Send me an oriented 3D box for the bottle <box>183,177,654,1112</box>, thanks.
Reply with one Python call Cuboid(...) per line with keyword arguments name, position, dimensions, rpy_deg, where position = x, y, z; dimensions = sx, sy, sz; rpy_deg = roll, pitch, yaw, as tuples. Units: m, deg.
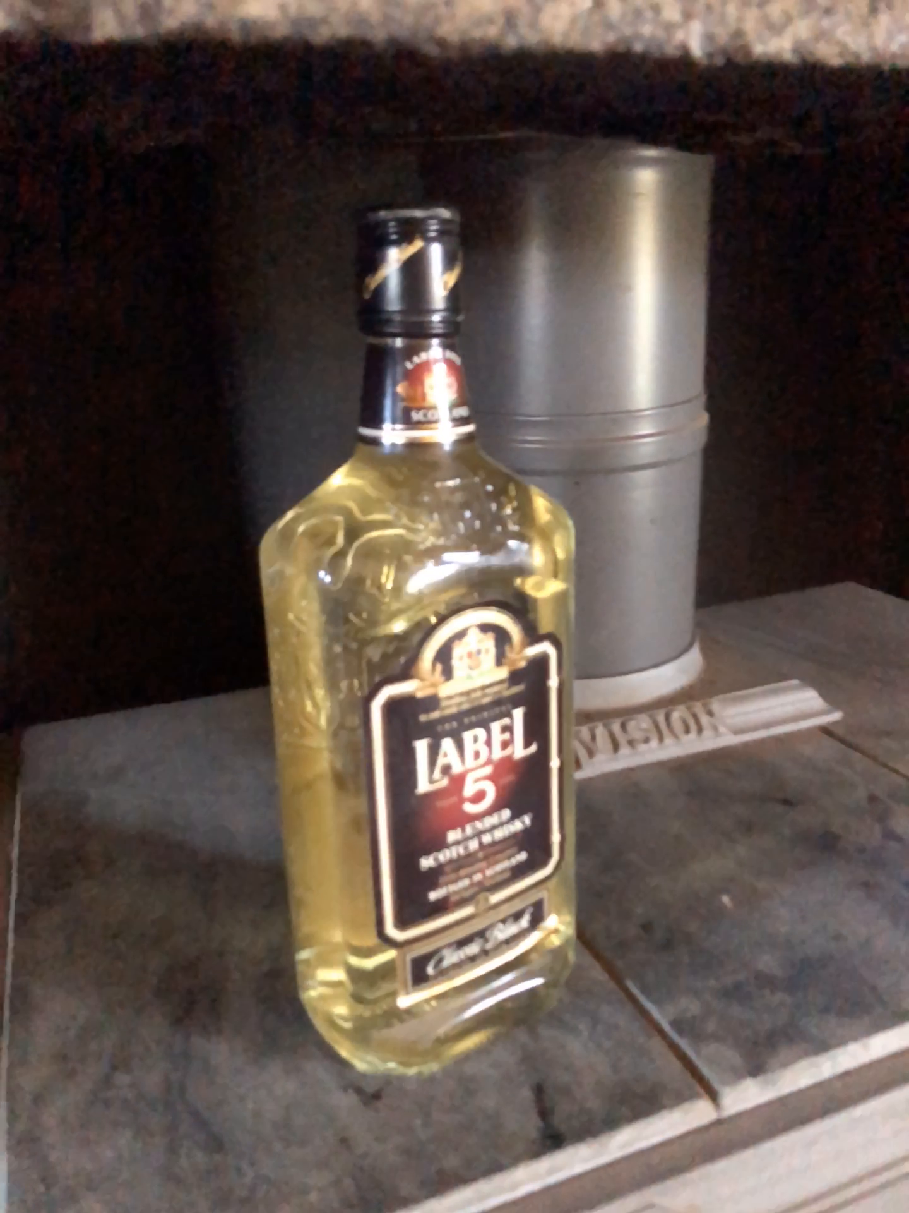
Cuboid(name="bottle", position=(-0.002, 0.008, 0.302), dimensions=(0.110, 0.249, 0.060), rpy_deg=(-14, 20, -30))
